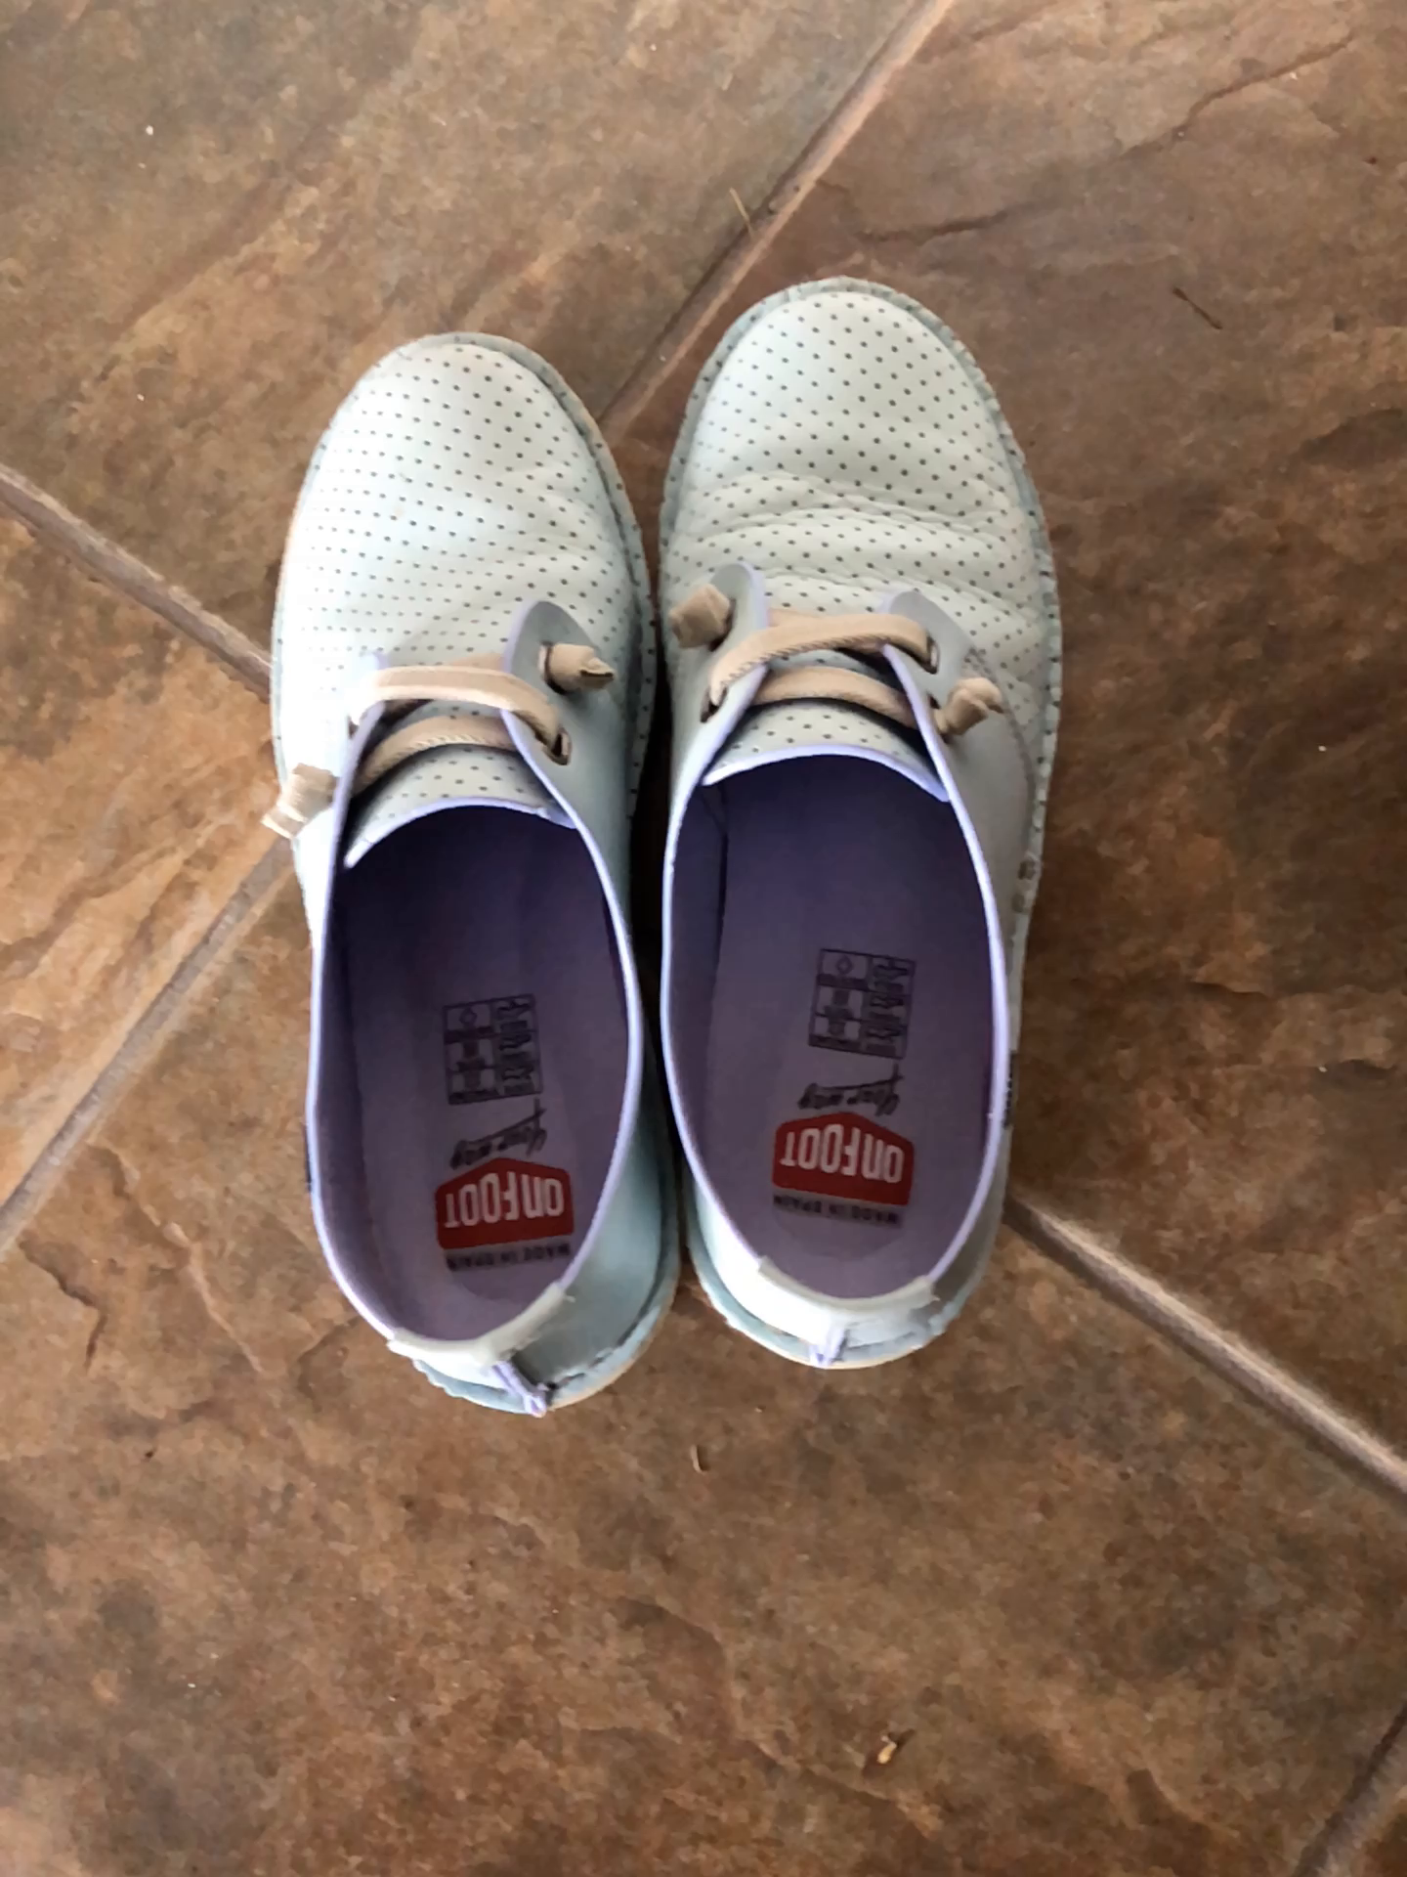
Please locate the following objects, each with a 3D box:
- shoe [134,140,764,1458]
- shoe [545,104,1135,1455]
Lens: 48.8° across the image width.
[{"bbox_3d":[-0.052,-0.027,0.348,0.100,0.100,0.250,-7,81,3],"label":"shoe"},{"bbox_3d":[0.031,-0.031,0.332,0.100,0.100,0.250,2,81,4],"label":"shoe"}]
